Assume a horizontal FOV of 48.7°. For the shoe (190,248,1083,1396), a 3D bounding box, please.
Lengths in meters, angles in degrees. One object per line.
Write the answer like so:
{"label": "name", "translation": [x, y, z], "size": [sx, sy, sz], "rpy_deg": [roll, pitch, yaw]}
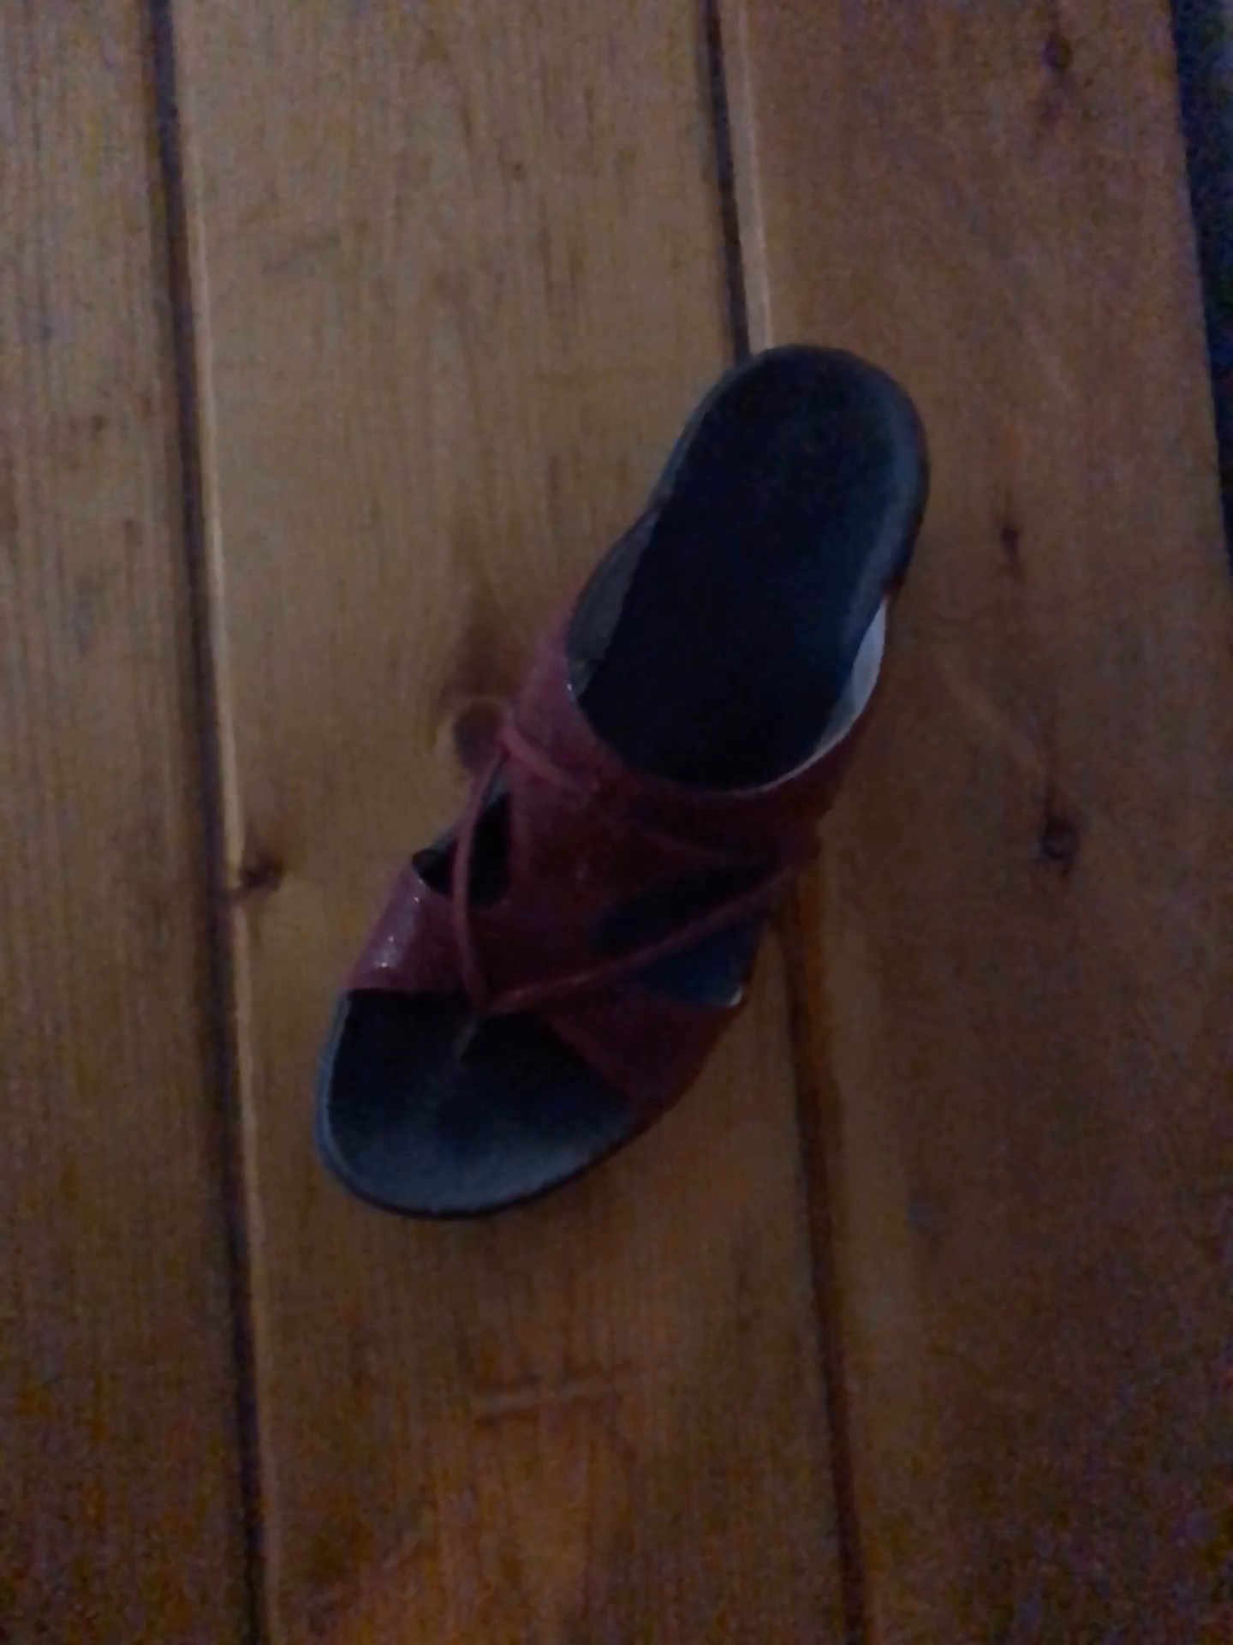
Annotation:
{"label": "shoe", "translation": [0.007, -0.002, 0.351], "size": [0.100, 0.070, 0.250], "rpy_deg": [29, 84, 0]}
